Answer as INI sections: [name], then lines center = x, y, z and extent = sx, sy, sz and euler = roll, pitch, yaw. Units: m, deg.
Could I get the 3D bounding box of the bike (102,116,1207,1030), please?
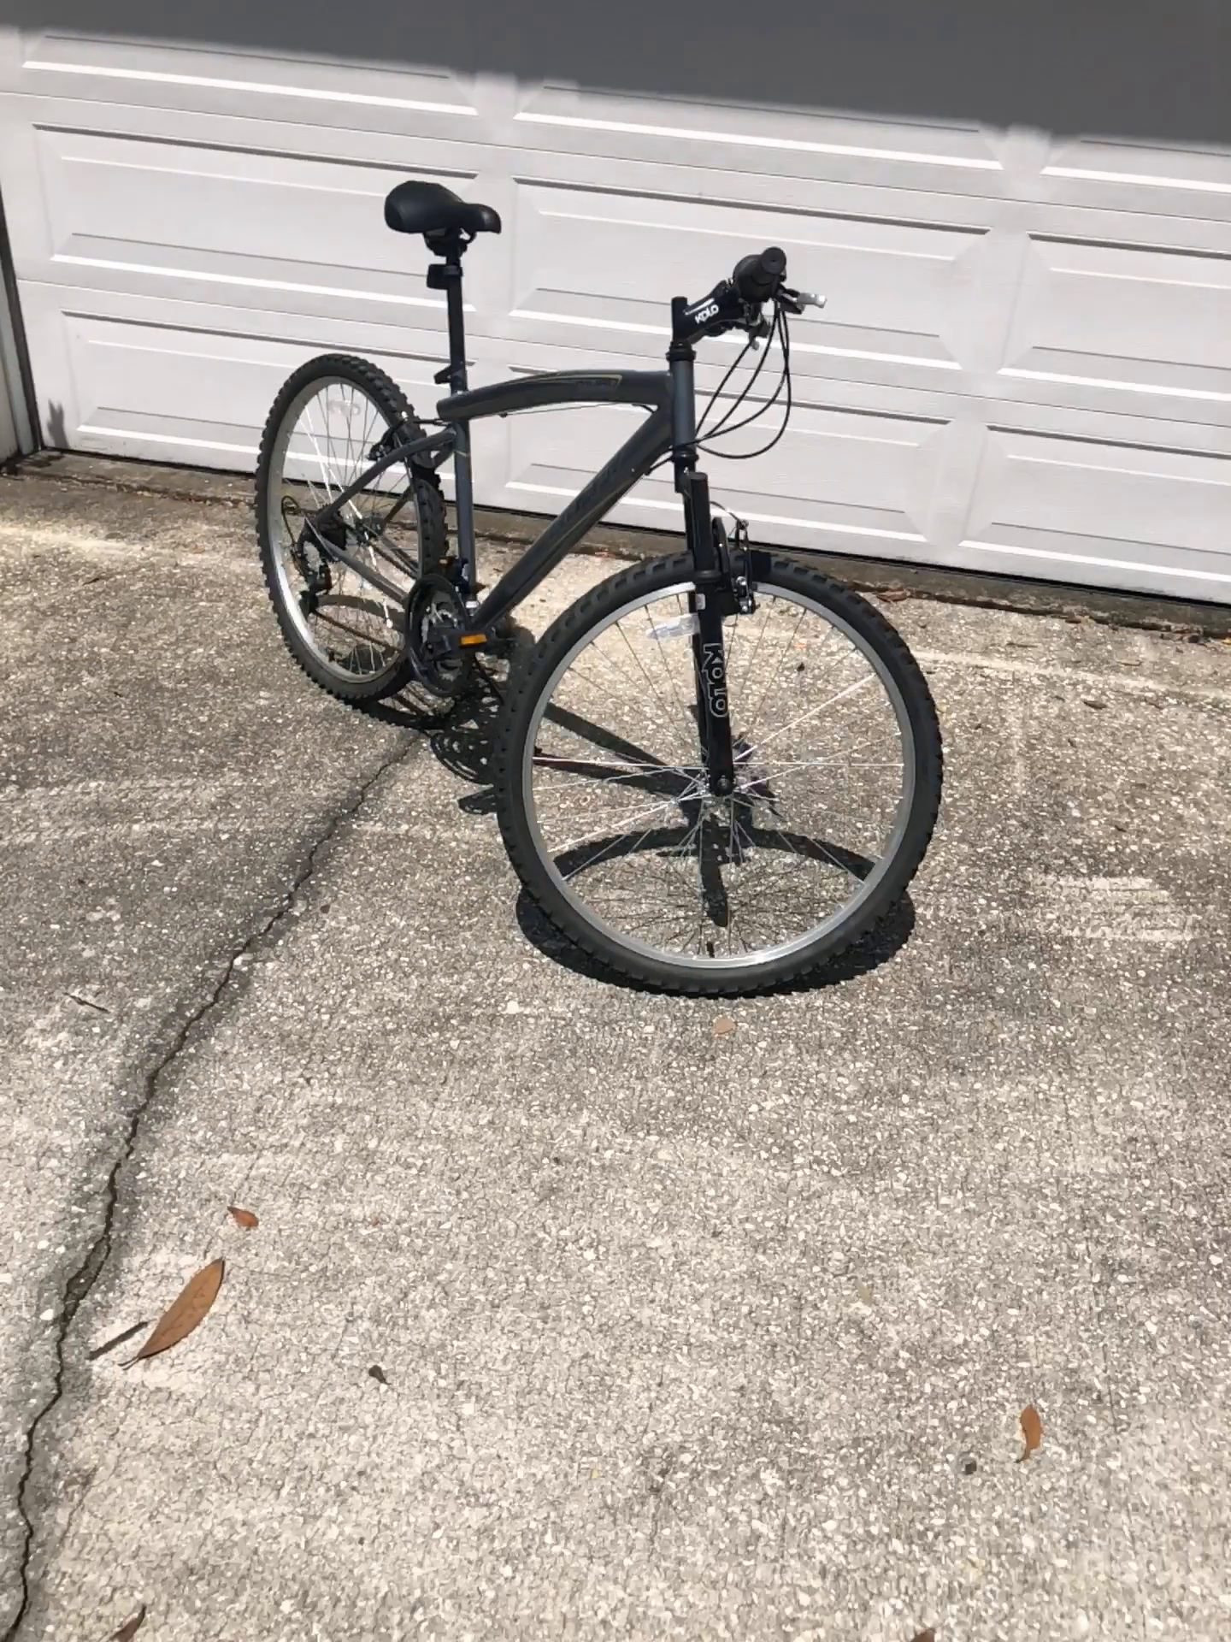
[bike]
center = -0.040, -0.532, 2.353
extent = 1.534, 0.980, 0.681
euler = 30, 40, 30
